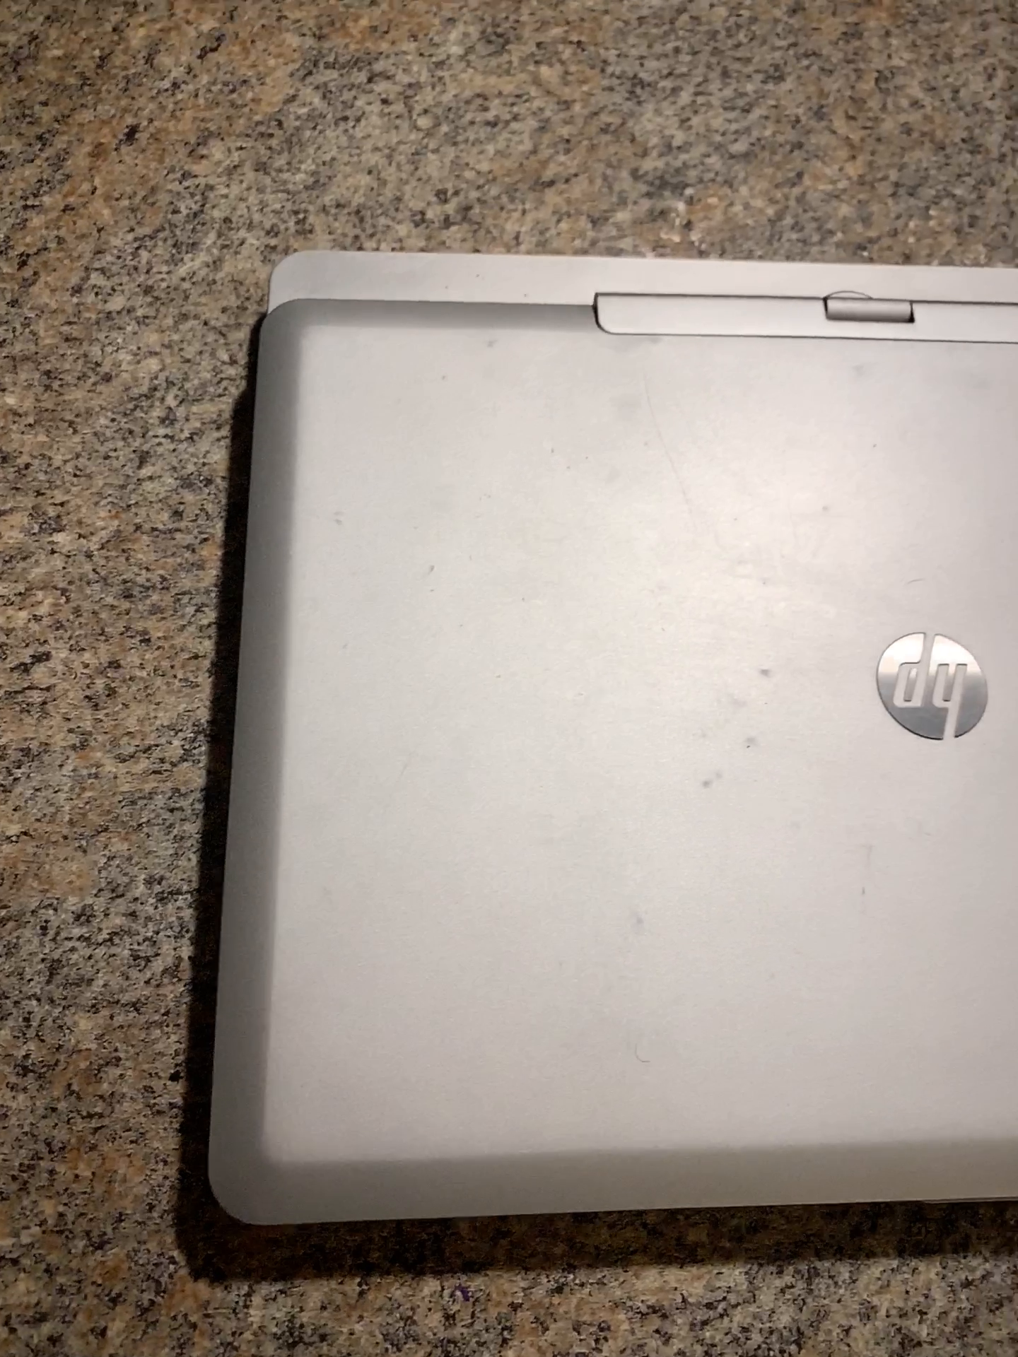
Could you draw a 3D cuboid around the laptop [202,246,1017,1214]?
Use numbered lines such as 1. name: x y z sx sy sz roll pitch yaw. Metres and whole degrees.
1. laptop: 0.083 -0.005 0.213 0.267 0.005 0.194 0 69 -3
